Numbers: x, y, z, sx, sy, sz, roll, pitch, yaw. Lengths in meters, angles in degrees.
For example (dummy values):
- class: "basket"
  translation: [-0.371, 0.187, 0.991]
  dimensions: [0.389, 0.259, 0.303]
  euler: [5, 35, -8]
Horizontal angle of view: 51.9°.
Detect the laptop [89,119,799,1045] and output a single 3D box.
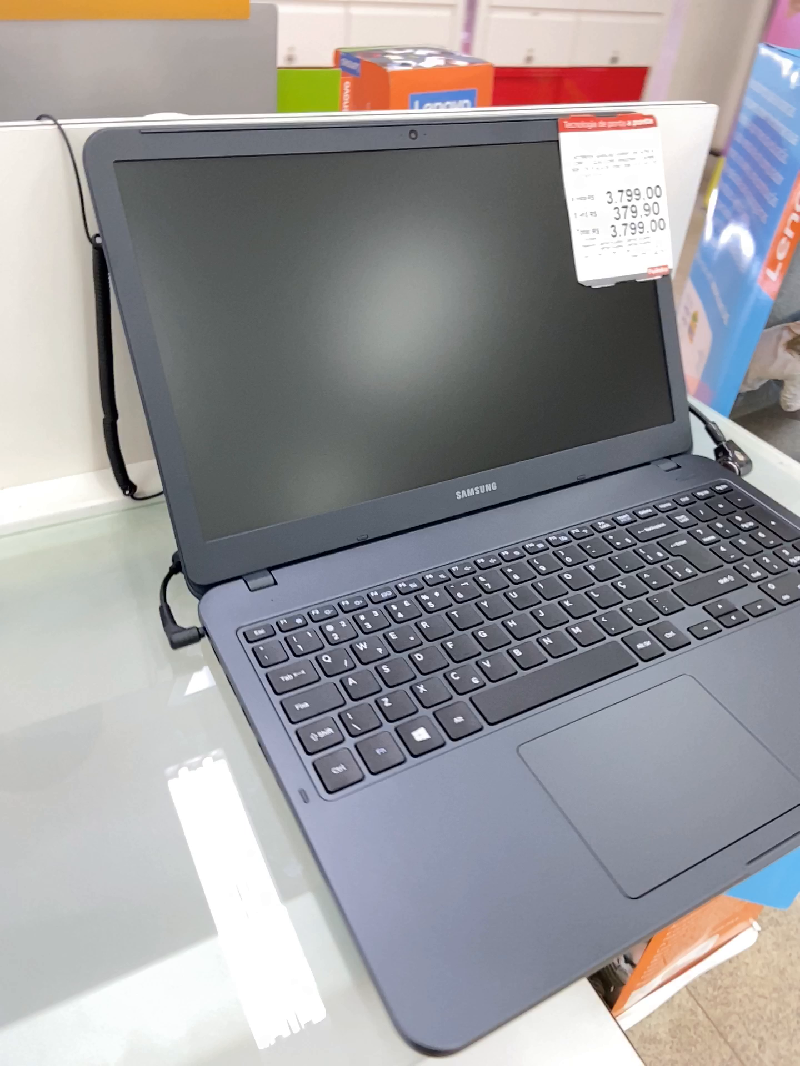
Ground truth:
- class: "laptop"
  translation: [0.089, -0.058, 0.415]
  dimensions: [0.371, 0.192, 0.370]
  euler: [-15, 42, -25]
